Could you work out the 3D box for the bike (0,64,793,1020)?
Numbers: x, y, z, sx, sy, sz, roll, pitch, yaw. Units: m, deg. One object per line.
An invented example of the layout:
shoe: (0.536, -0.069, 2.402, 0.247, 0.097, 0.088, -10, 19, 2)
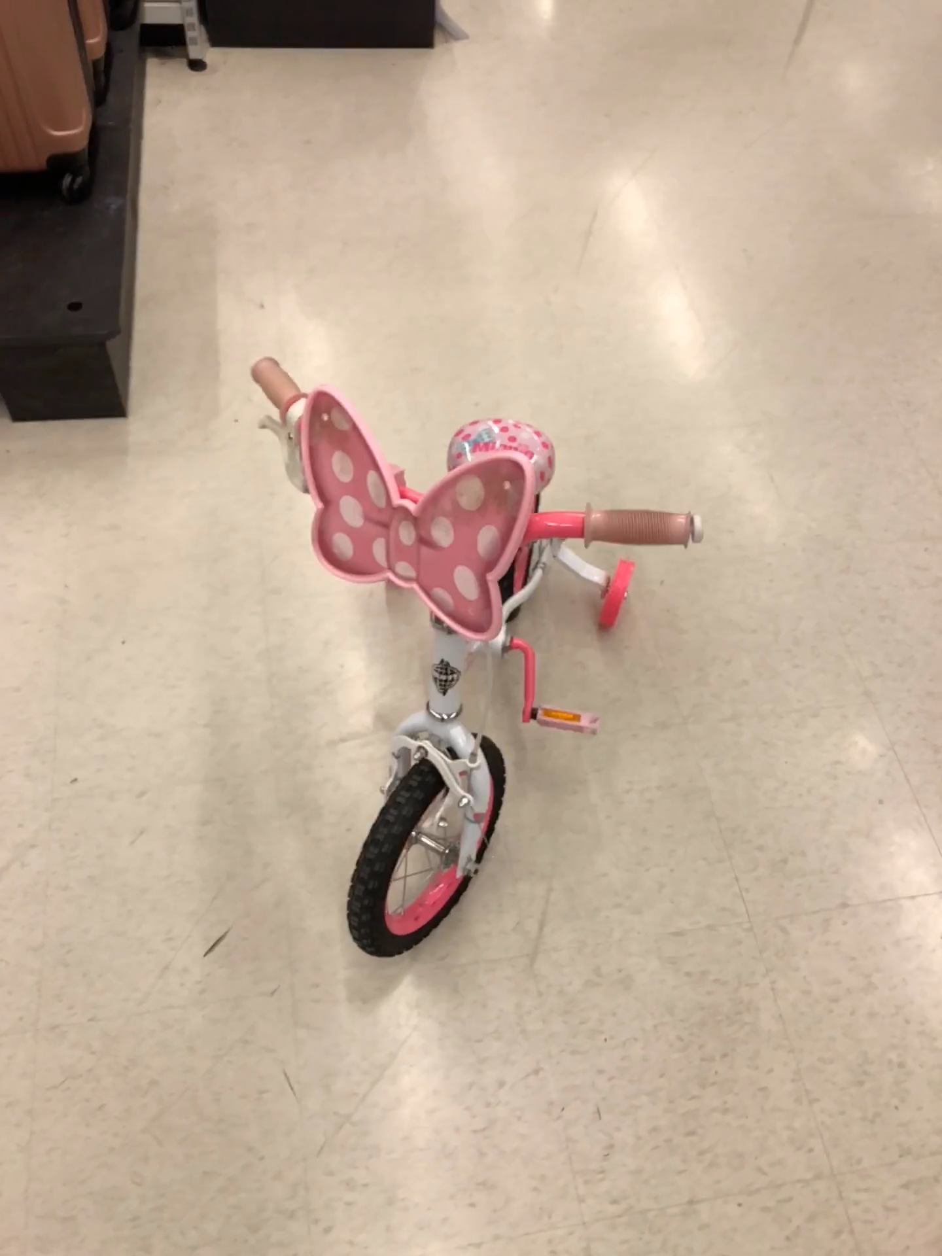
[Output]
bike: (-0.024, -0.085, 1.226, 0.510, 0.680, 0.777, 16, 56, 6)
